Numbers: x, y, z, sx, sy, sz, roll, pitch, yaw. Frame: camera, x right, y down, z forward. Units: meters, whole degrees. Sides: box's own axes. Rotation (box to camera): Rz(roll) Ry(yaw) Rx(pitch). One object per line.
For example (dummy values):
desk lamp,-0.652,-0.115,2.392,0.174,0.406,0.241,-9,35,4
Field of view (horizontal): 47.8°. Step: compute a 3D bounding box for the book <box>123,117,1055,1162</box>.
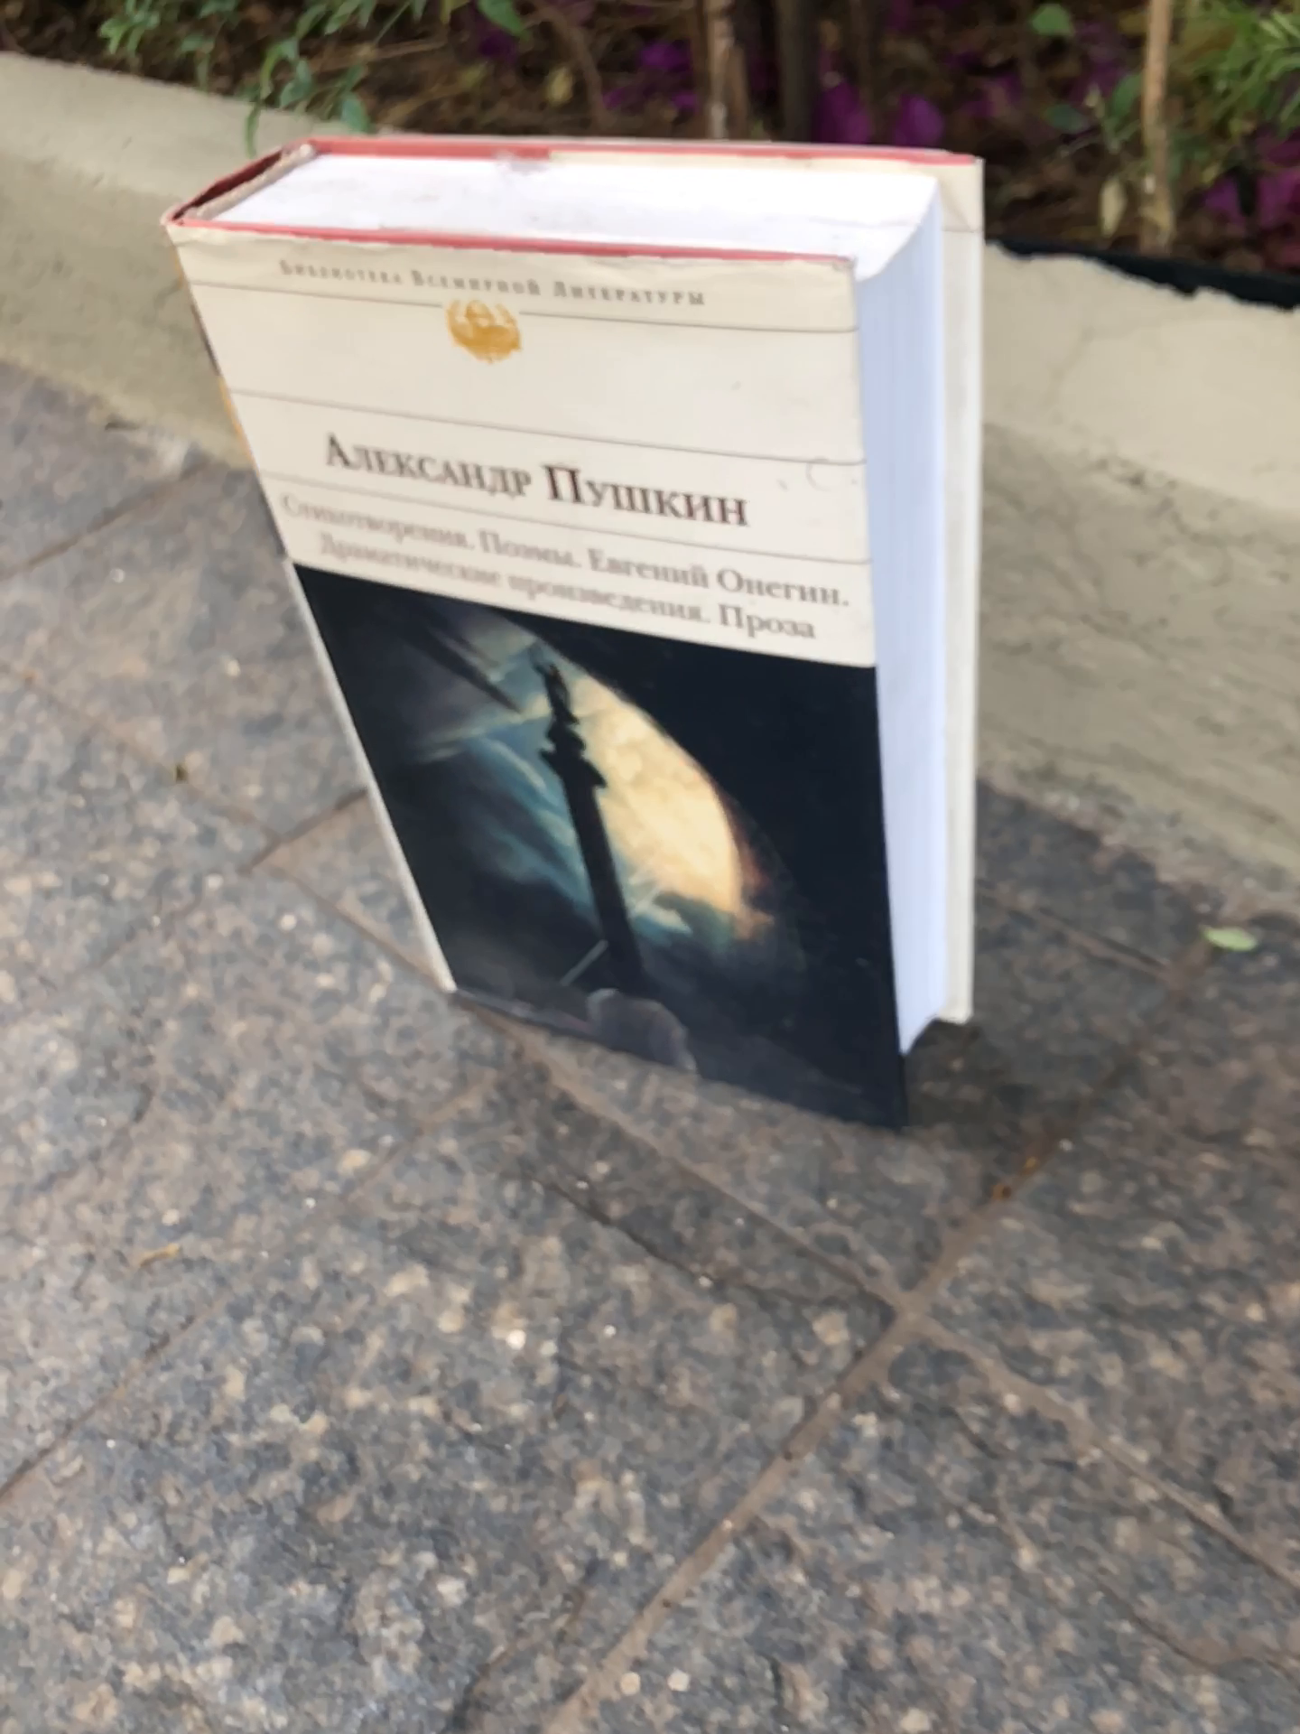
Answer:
book,-0.003,-0.040,0.312,0.150,0.203,0.050,14,47,23
